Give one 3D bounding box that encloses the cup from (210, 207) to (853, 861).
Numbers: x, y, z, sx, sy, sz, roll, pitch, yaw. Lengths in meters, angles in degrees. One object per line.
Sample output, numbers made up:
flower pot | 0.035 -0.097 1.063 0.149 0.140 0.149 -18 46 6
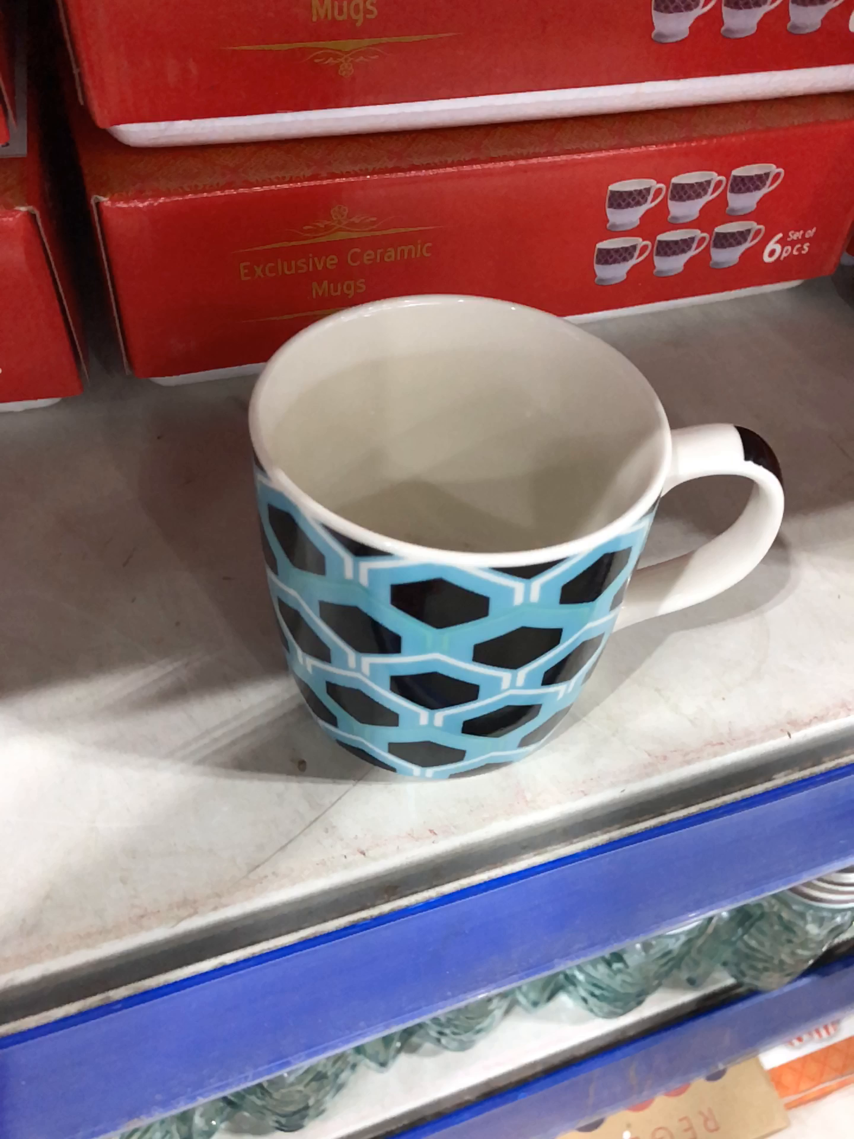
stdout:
cup | 0.019 -0.009 0.248 0.130 0.120 0.110 -3 49 -7
